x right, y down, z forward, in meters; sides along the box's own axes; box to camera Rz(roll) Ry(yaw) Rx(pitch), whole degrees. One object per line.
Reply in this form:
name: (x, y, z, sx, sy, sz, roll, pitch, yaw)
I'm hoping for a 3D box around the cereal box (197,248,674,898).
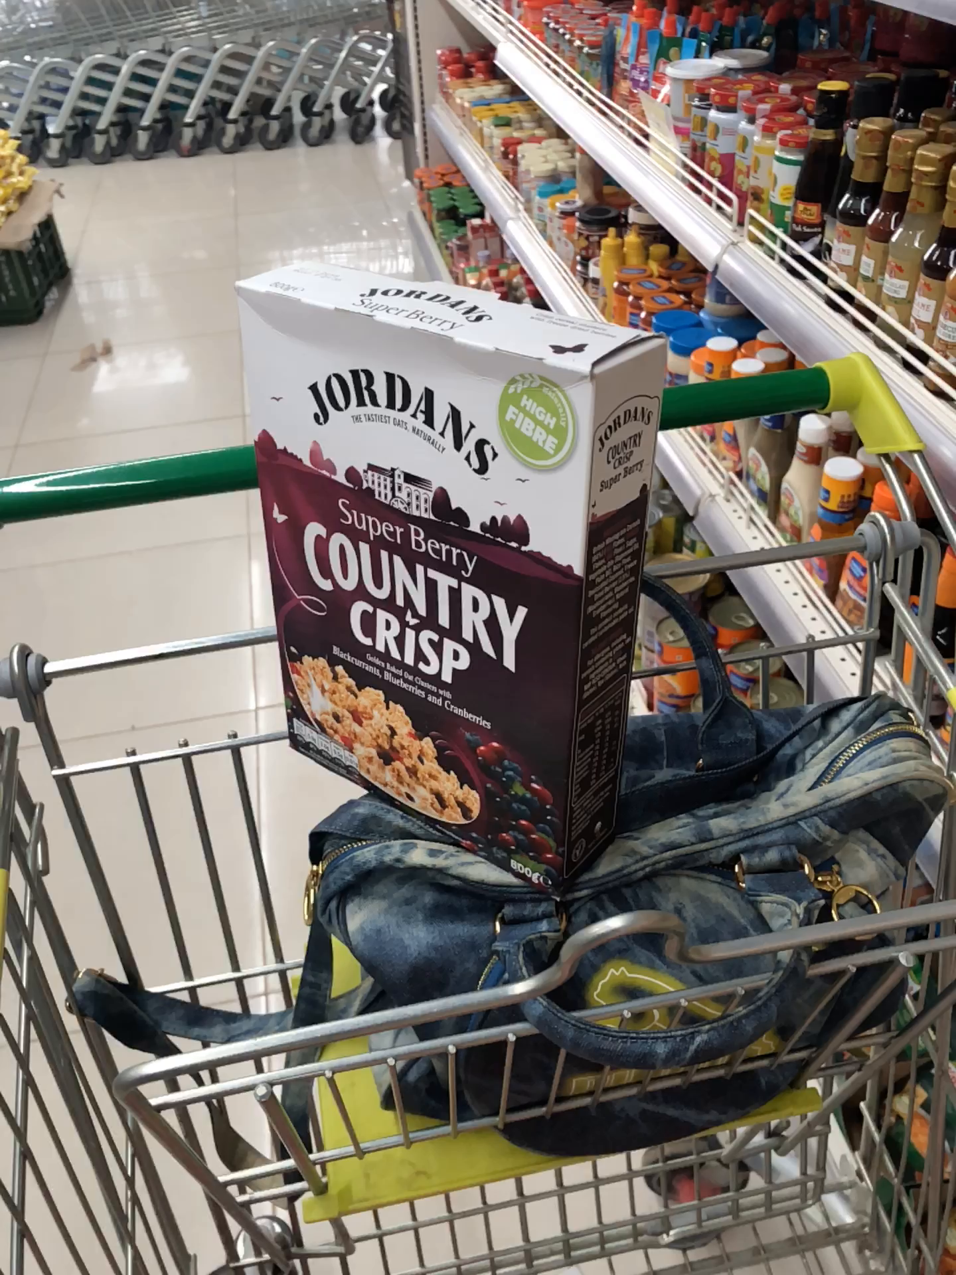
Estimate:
cereal box: (-0.023, -0.027, 0.447, 0.180, 0.229, 0.050, 22, 39, 29)
